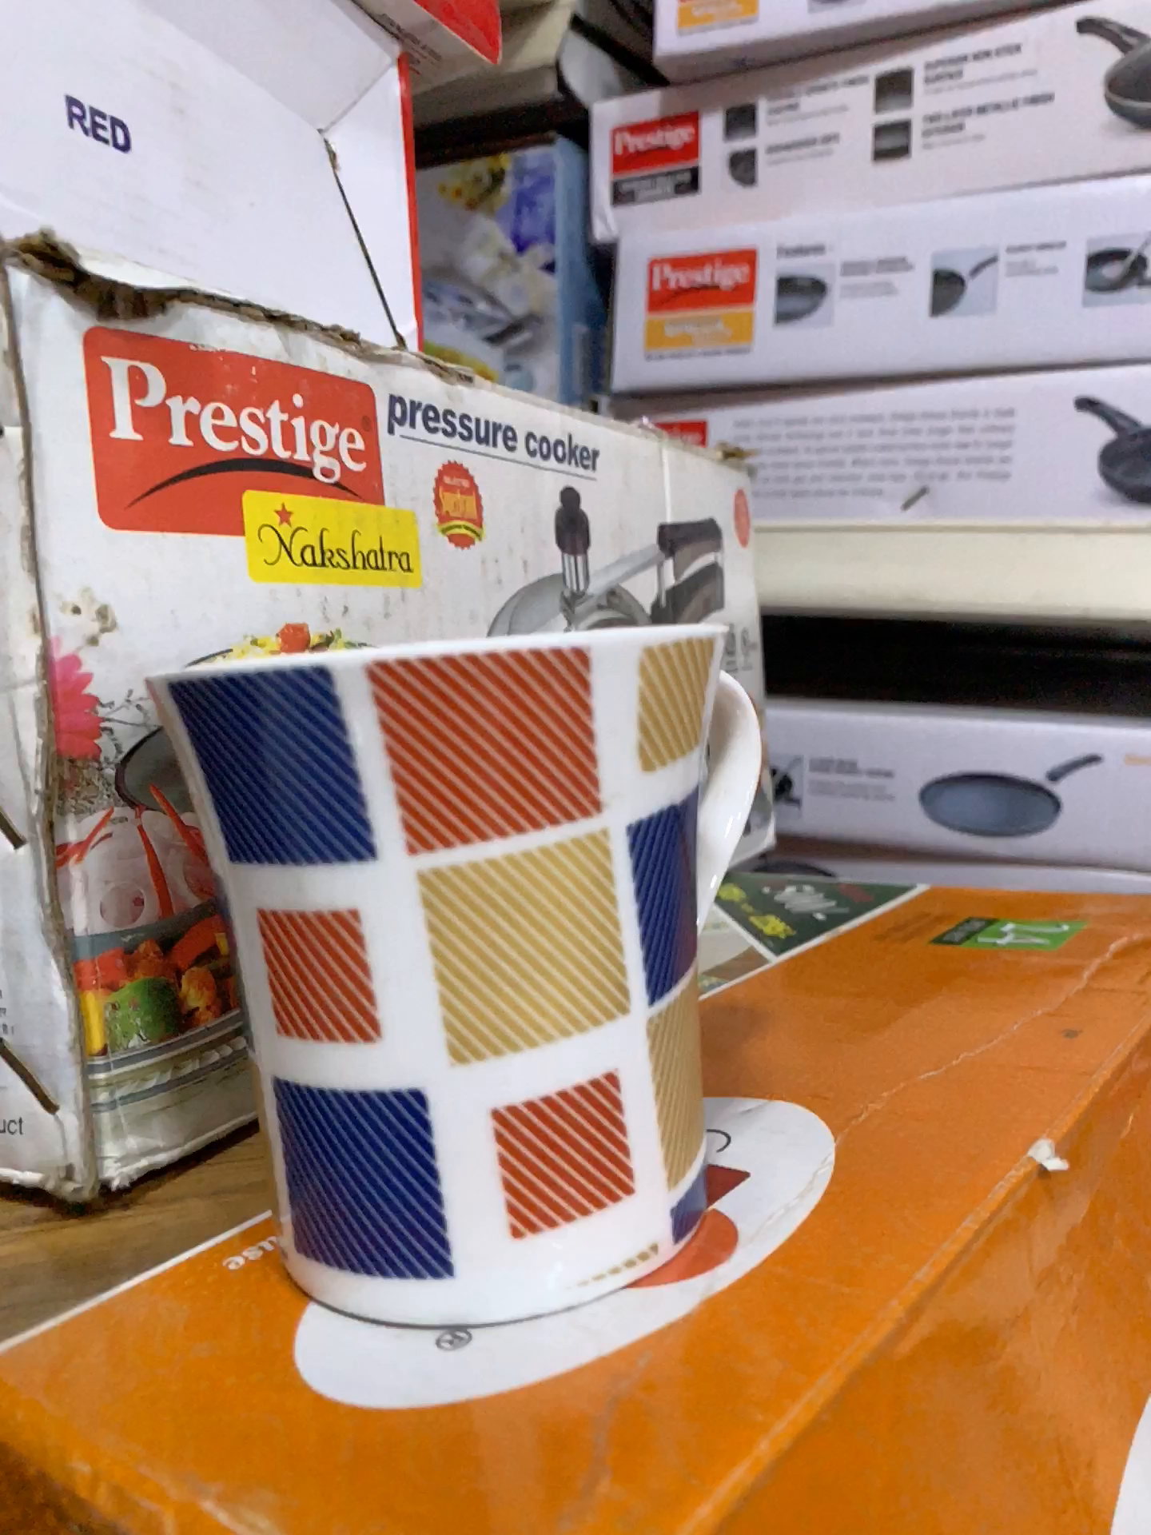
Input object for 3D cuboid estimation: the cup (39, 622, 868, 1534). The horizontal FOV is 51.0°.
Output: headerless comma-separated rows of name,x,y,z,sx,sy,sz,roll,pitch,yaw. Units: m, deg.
cup,-0.007,0.027,0.176,0.070,0.090,0.100,-2,5,28
